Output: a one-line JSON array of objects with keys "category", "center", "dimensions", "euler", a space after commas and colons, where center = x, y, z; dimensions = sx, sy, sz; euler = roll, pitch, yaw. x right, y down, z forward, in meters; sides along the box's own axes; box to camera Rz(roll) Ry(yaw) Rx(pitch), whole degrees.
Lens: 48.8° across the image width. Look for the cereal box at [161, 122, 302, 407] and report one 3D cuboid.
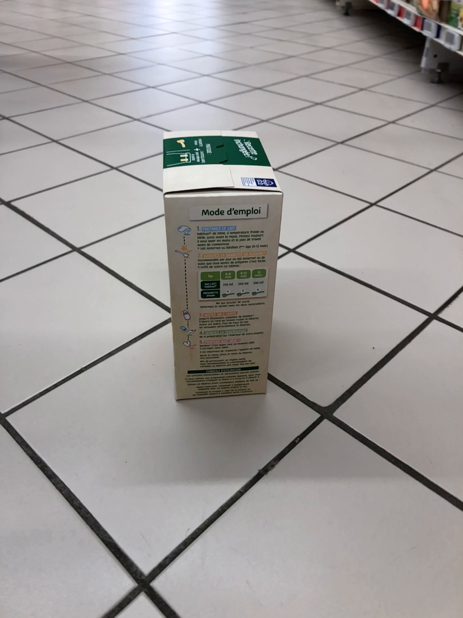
[{"category": "cereal box", "center": [-0.008, -0.037, 0.434], "dimensions": [0.090, 0.199, 0.131], "euler": [-2, 37, -5]}]
